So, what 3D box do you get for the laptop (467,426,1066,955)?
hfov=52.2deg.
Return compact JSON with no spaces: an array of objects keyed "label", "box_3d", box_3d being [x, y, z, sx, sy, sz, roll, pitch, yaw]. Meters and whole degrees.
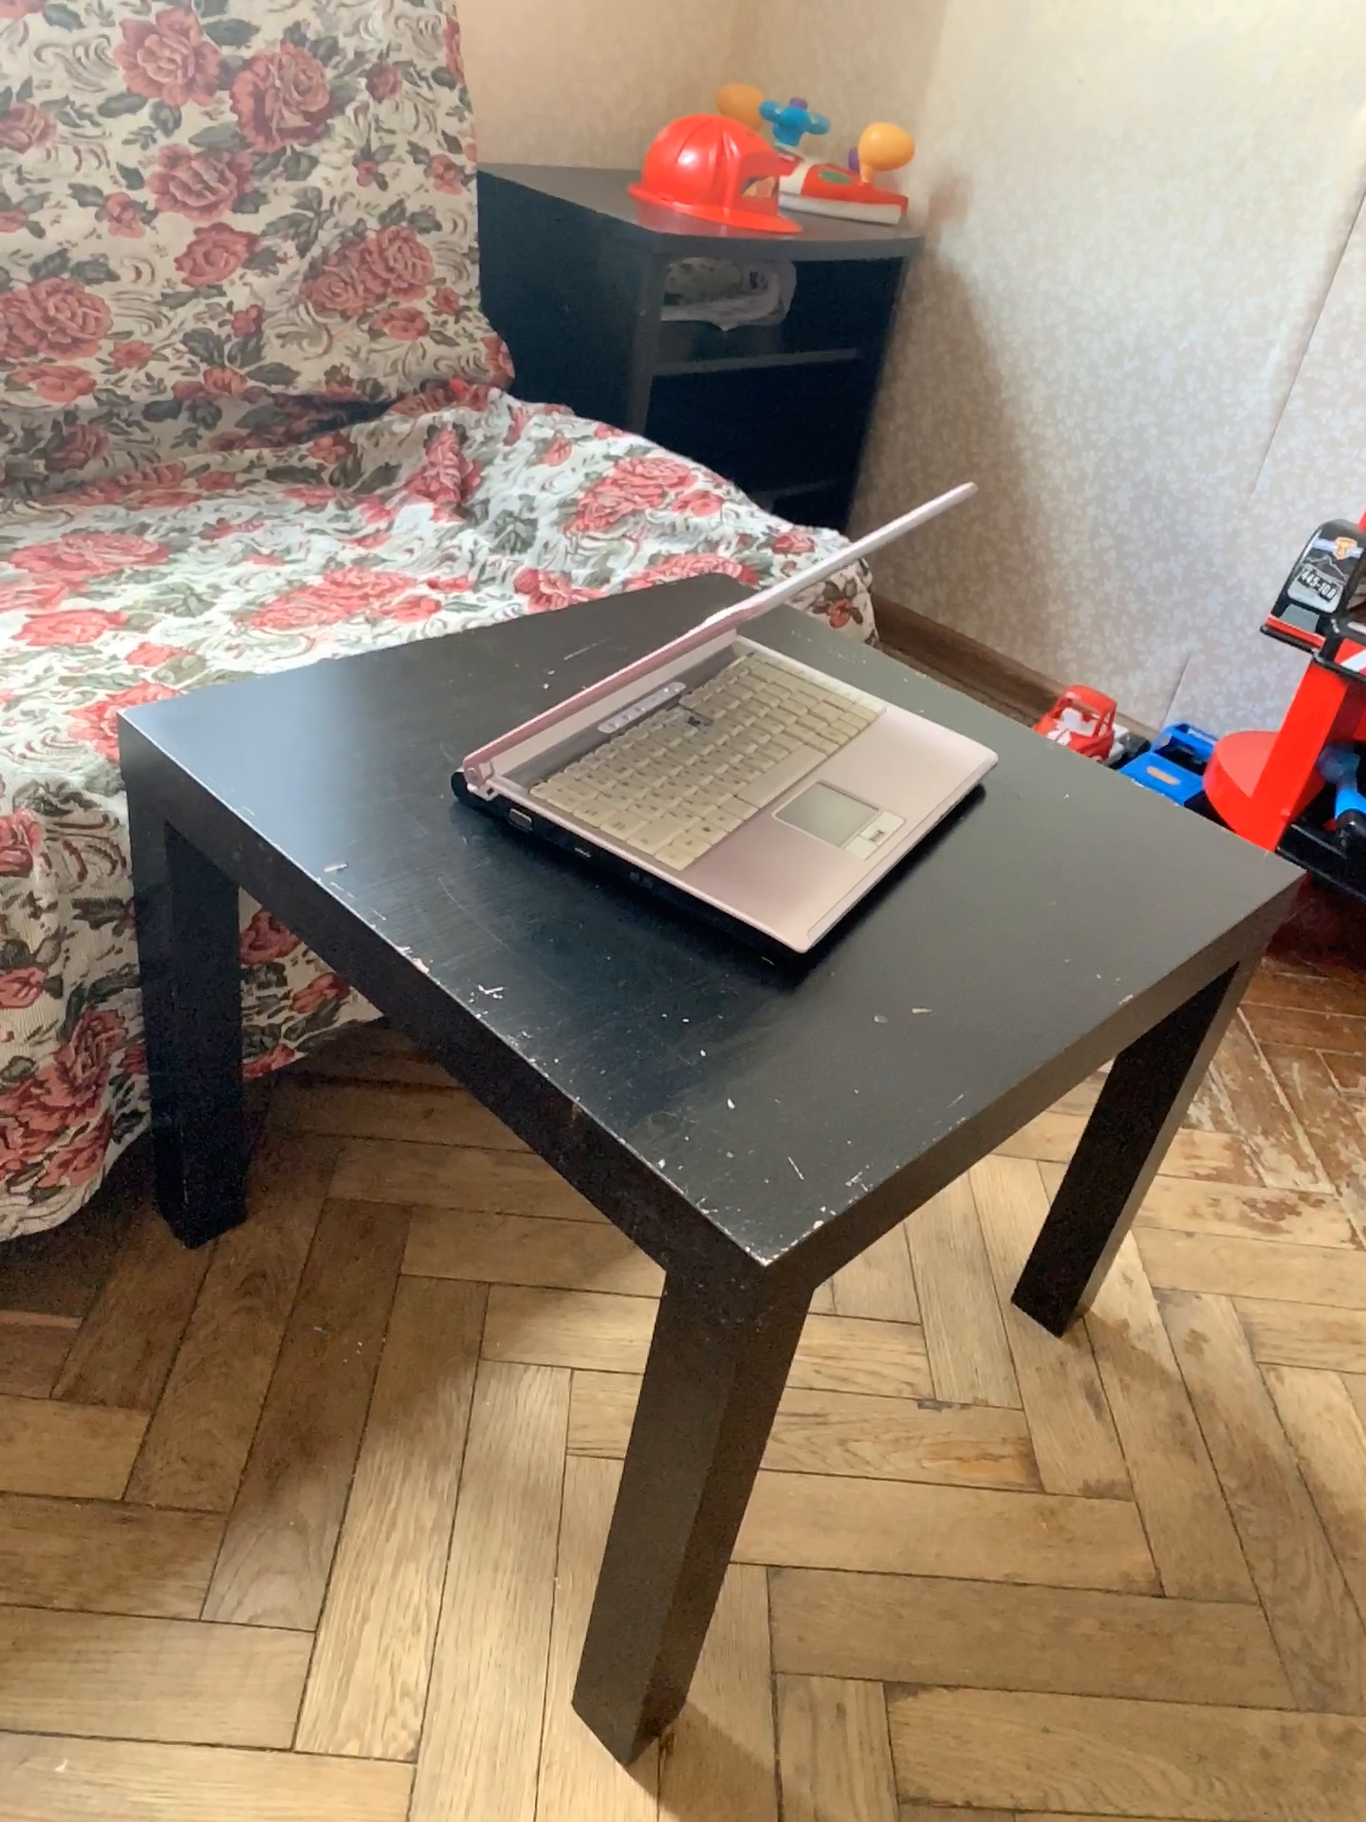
[{"label":"laptop","box_3d":[0.058,-0.154,0.845,0.225,0.156,0.307,26,37,19]}]
